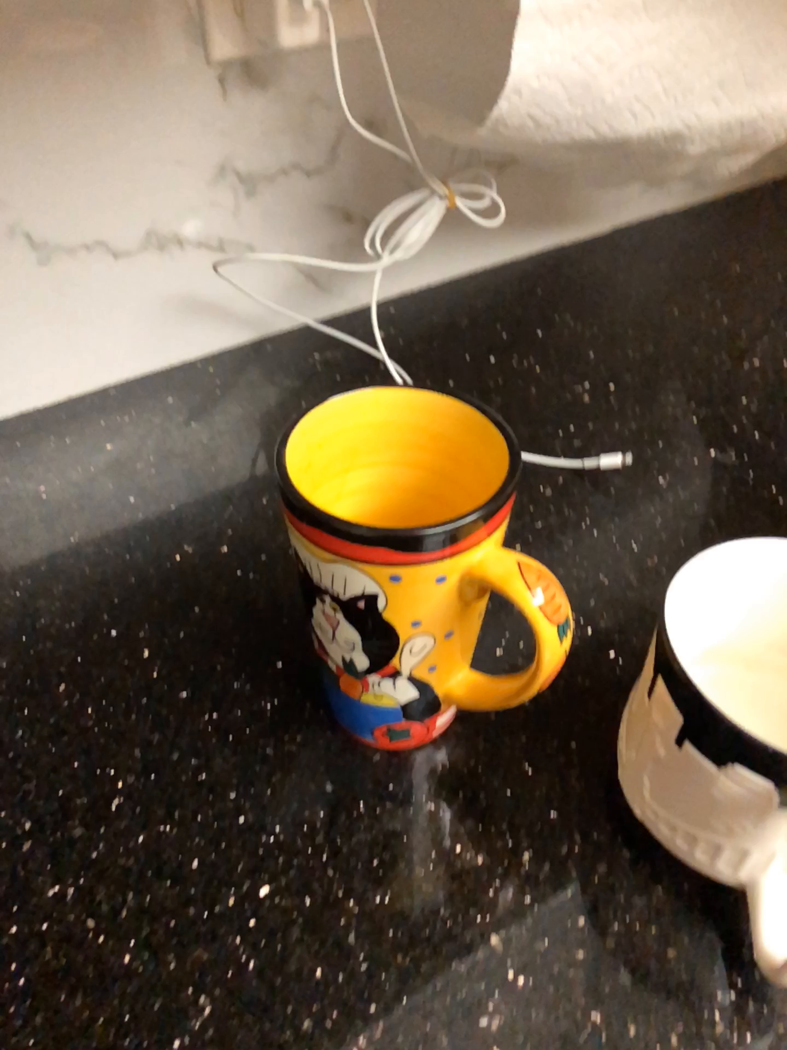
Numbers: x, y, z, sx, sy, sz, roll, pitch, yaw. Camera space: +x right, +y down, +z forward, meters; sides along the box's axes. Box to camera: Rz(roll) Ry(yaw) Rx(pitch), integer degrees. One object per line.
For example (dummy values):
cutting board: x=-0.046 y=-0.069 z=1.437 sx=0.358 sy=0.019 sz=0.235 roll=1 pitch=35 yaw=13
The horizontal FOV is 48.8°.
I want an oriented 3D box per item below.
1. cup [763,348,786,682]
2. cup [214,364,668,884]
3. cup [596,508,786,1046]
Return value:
cup: x=0.259 y=-0.007 z=0.440 sx=0.090 sy=0.109 sz=0.100 roll=20 pitch=46 yaw=20
cup: x=0.016 y=0.039 z=0.353 sx=0.130 sy=0.149 sz=0.090 roll=25 pitch=48 yaw=24
cup: x=0.141 y=0.090 z=0.338 sx=0.100 sy=0.109 sz=0.151 roll=8 pitch=43 yaw=9
